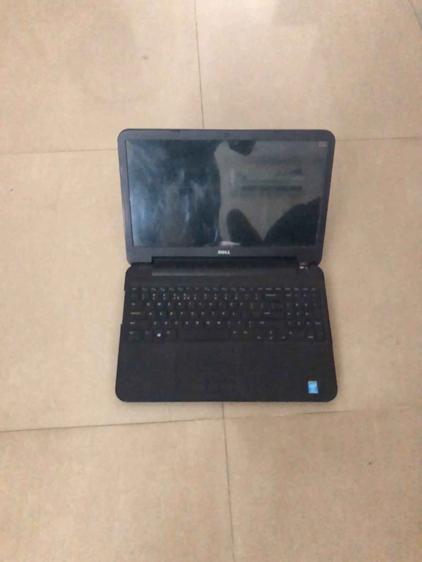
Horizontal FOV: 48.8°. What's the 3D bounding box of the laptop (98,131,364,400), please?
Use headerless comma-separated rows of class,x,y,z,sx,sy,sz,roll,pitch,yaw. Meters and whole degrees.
laptop,0.024,-0.029,0.769,0.343,0.179,0.406,0,63,0
